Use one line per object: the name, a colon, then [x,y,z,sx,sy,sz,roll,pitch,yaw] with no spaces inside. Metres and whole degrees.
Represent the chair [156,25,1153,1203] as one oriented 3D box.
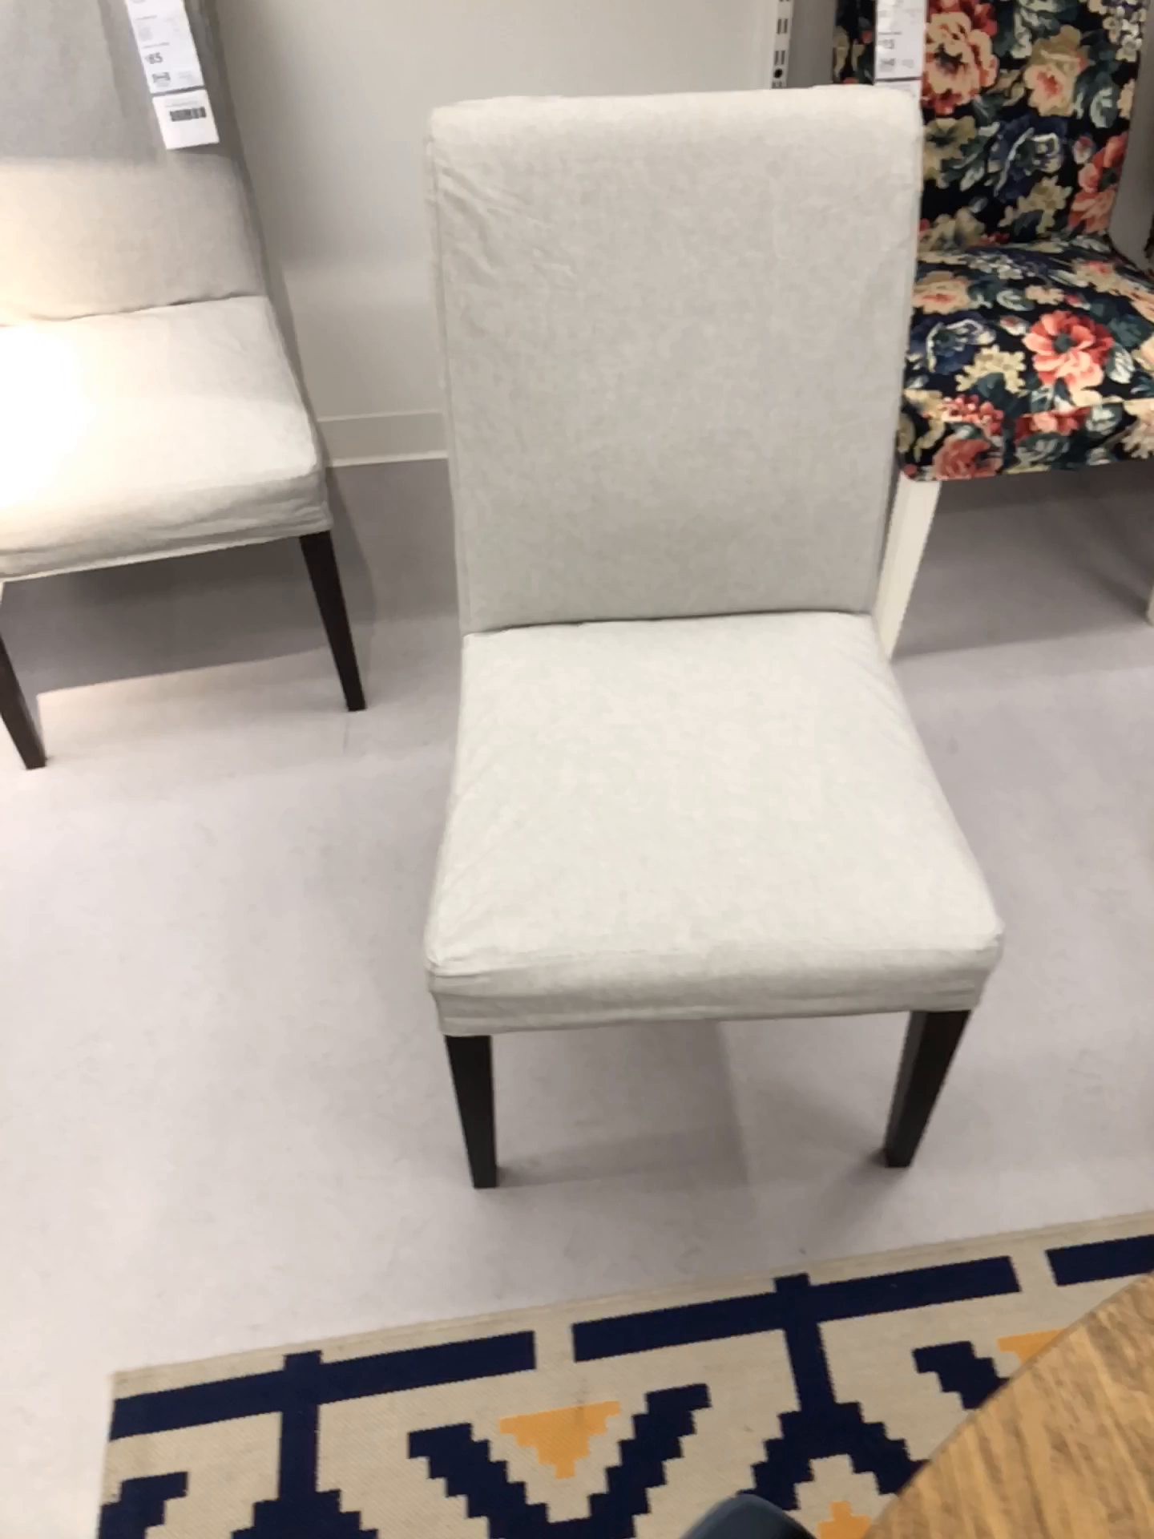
chair: [0.052,-0.102,1.189,0.560,0.854,0.644,-4,48,-2]
